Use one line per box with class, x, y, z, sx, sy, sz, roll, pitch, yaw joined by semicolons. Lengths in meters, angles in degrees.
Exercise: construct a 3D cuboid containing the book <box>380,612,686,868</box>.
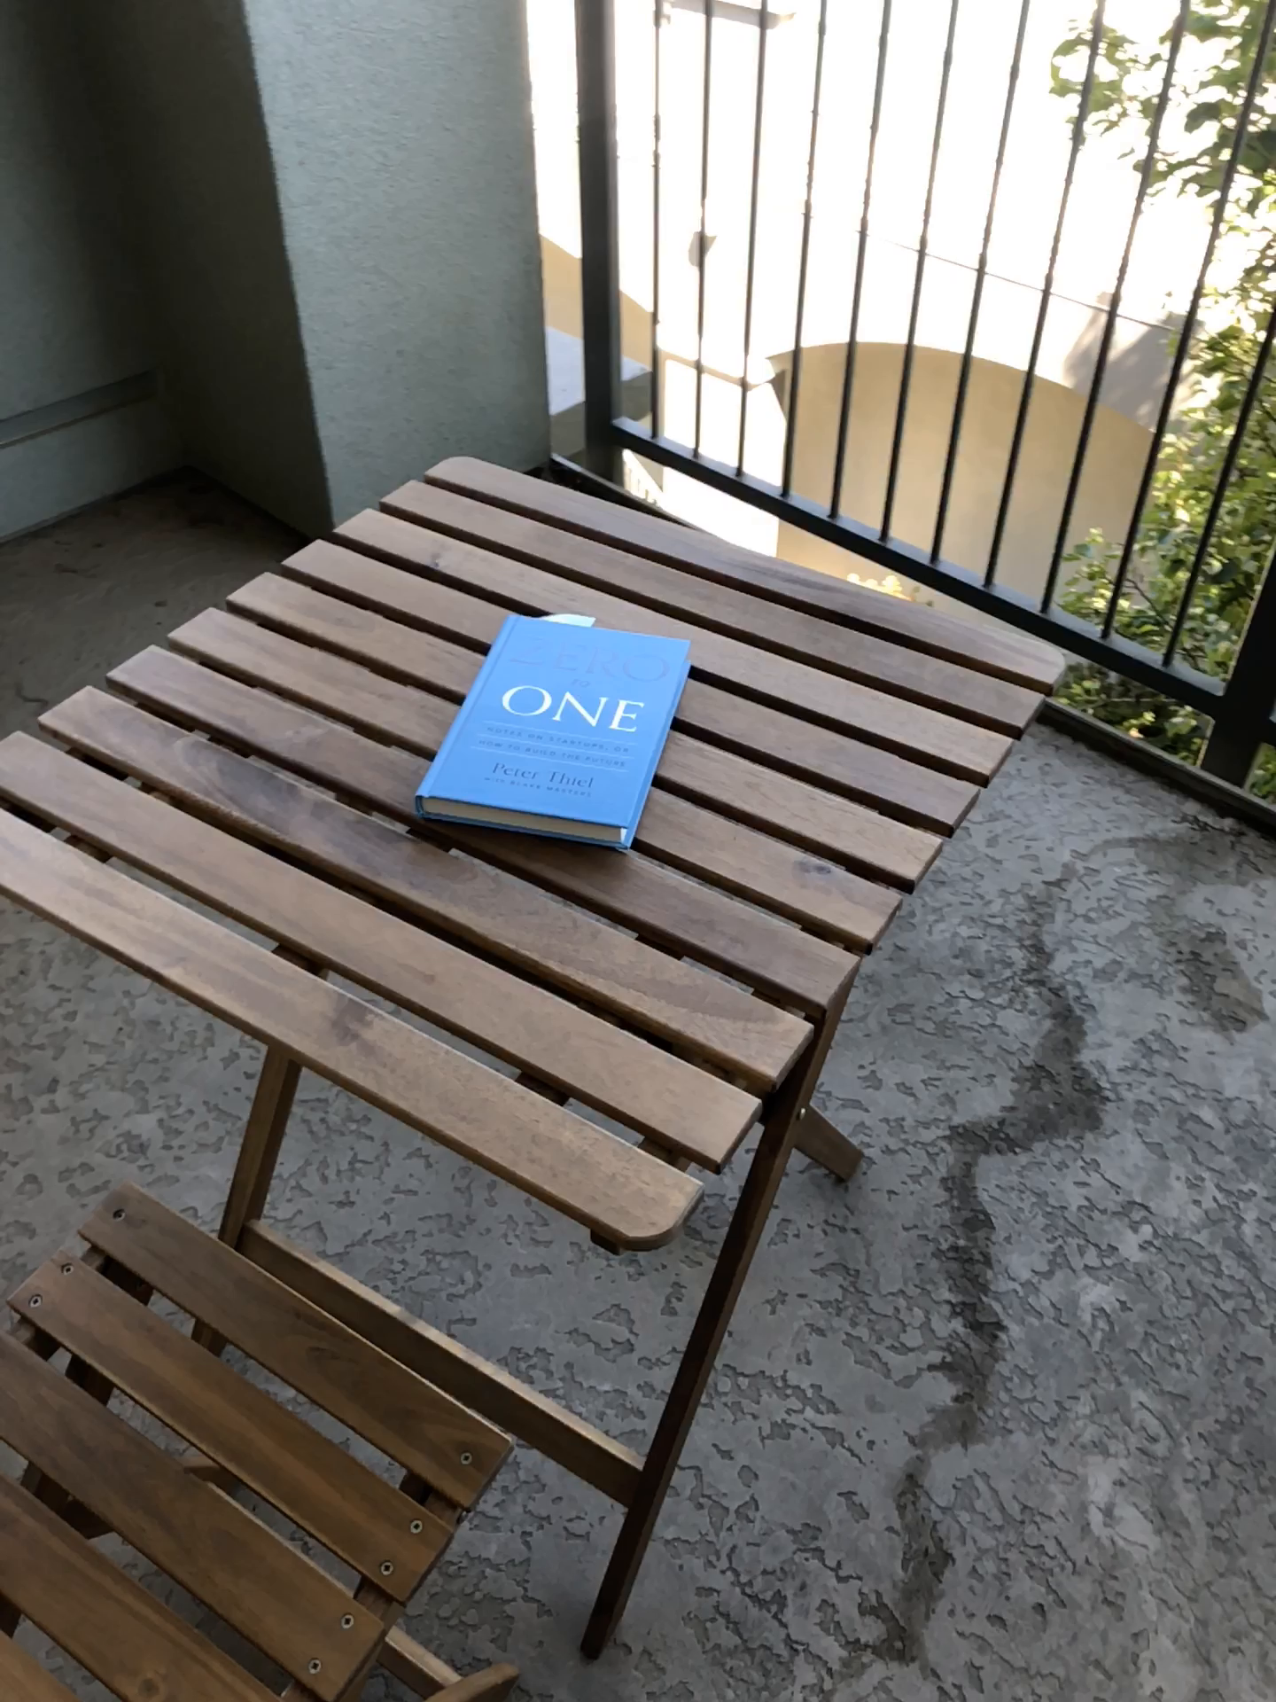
book;-0.066;-0.085;0.990;0.160;0.030;0.221;8;44;9
